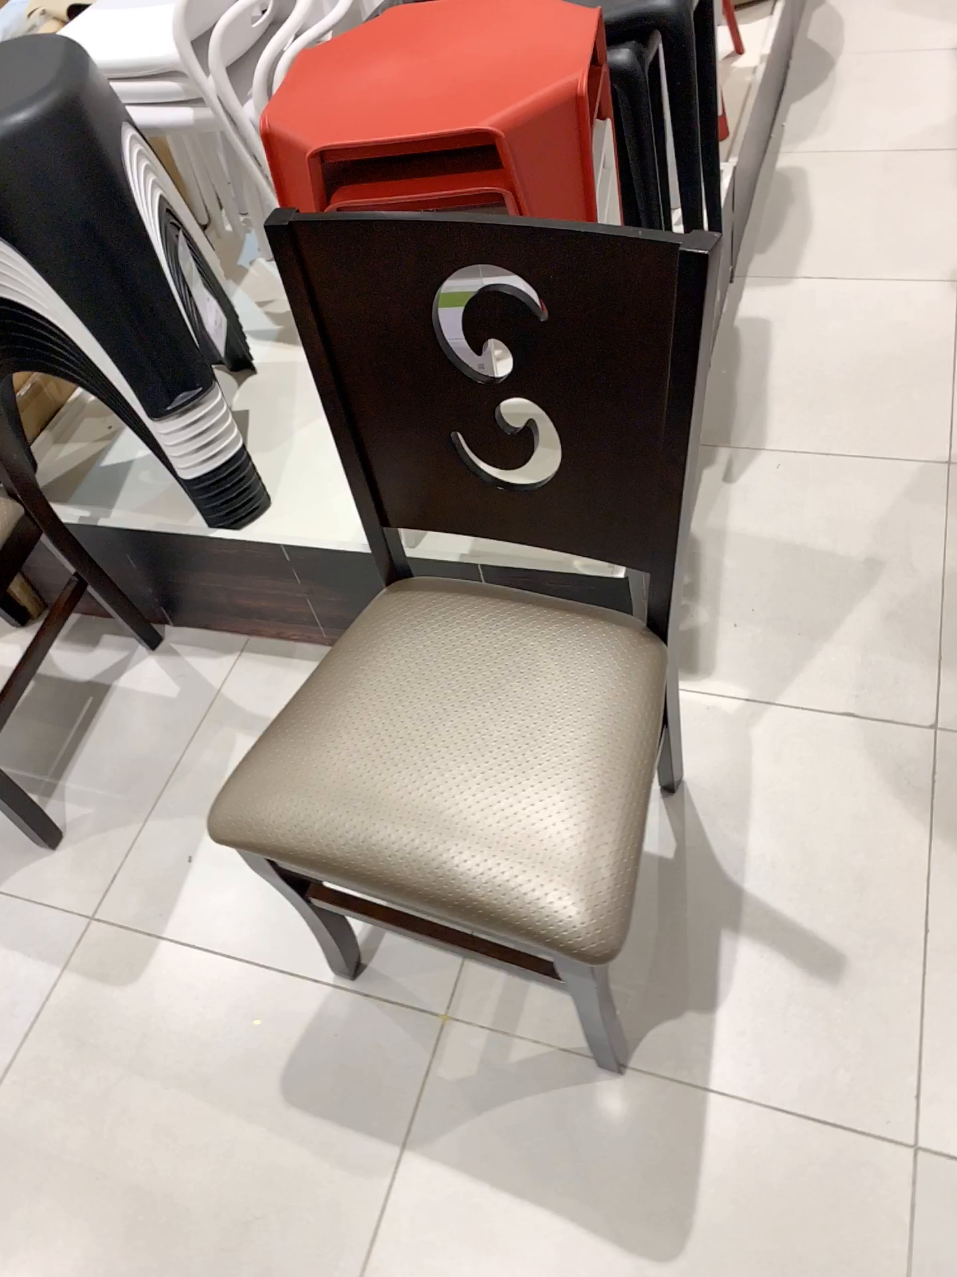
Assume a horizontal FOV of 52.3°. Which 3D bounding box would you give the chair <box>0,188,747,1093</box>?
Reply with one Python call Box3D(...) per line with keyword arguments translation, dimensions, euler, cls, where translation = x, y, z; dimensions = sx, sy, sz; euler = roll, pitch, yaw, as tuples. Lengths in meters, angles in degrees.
Box3D(translation=(-0.024, 0.046, 1.090), dimensions=(0.501, 0.847, 0.521), euler=(10, 54, 19), cls="chair")
